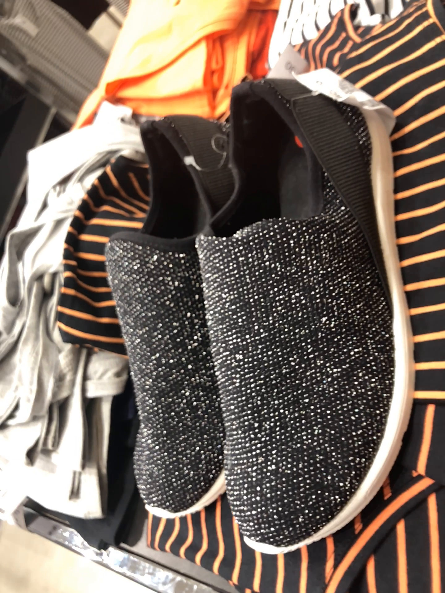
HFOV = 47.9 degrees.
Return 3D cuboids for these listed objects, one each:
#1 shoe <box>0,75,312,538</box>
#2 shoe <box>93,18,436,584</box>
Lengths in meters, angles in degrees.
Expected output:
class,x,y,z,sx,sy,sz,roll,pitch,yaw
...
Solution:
class,x,y,z,sx,sy,sz,roll,pitch,yaw
shoe,-0.033,0.006,0.318,0.100,0.109,0.240,-6,62,41
shoe,0.039,0.002,0.265,0.100,0.109,0.240,-9,60,40
